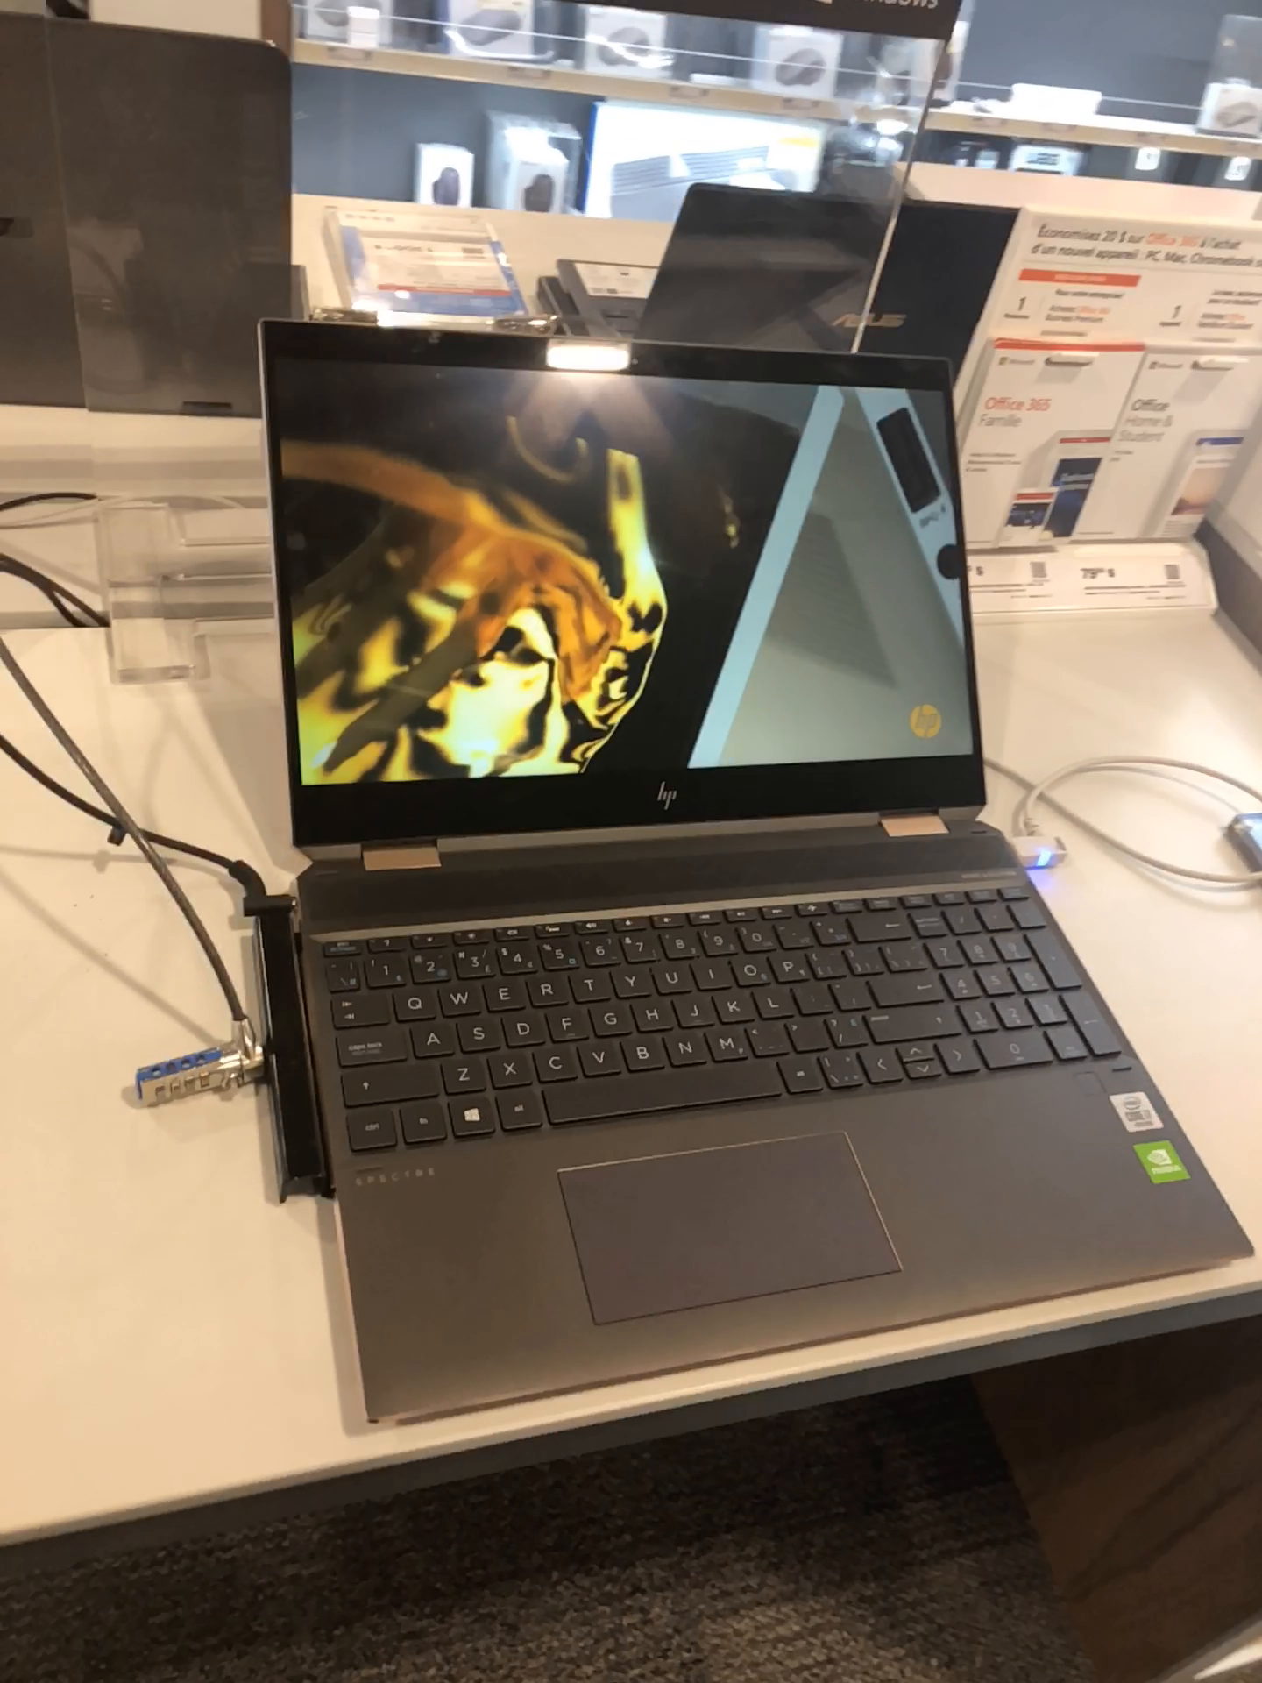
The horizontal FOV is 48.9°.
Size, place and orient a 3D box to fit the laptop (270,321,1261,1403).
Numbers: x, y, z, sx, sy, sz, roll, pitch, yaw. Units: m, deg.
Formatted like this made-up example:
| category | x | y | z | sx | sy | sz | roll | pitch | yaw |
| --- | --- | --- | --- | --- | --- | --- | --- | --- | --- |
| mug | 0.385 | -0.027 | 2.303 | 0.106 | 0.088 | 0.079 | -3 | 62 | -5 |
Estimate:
| category | x | y | z | sx | sy | sz | roll | pitch | yaw |
| --- | --- | --- | --- | --- | --- | --- | --- | --- | --- |
| laptop | 0.039 | -0.035 | 0.574 | 0.334 | 0.145 | 0.426 | -4 | 48 | -16 |
